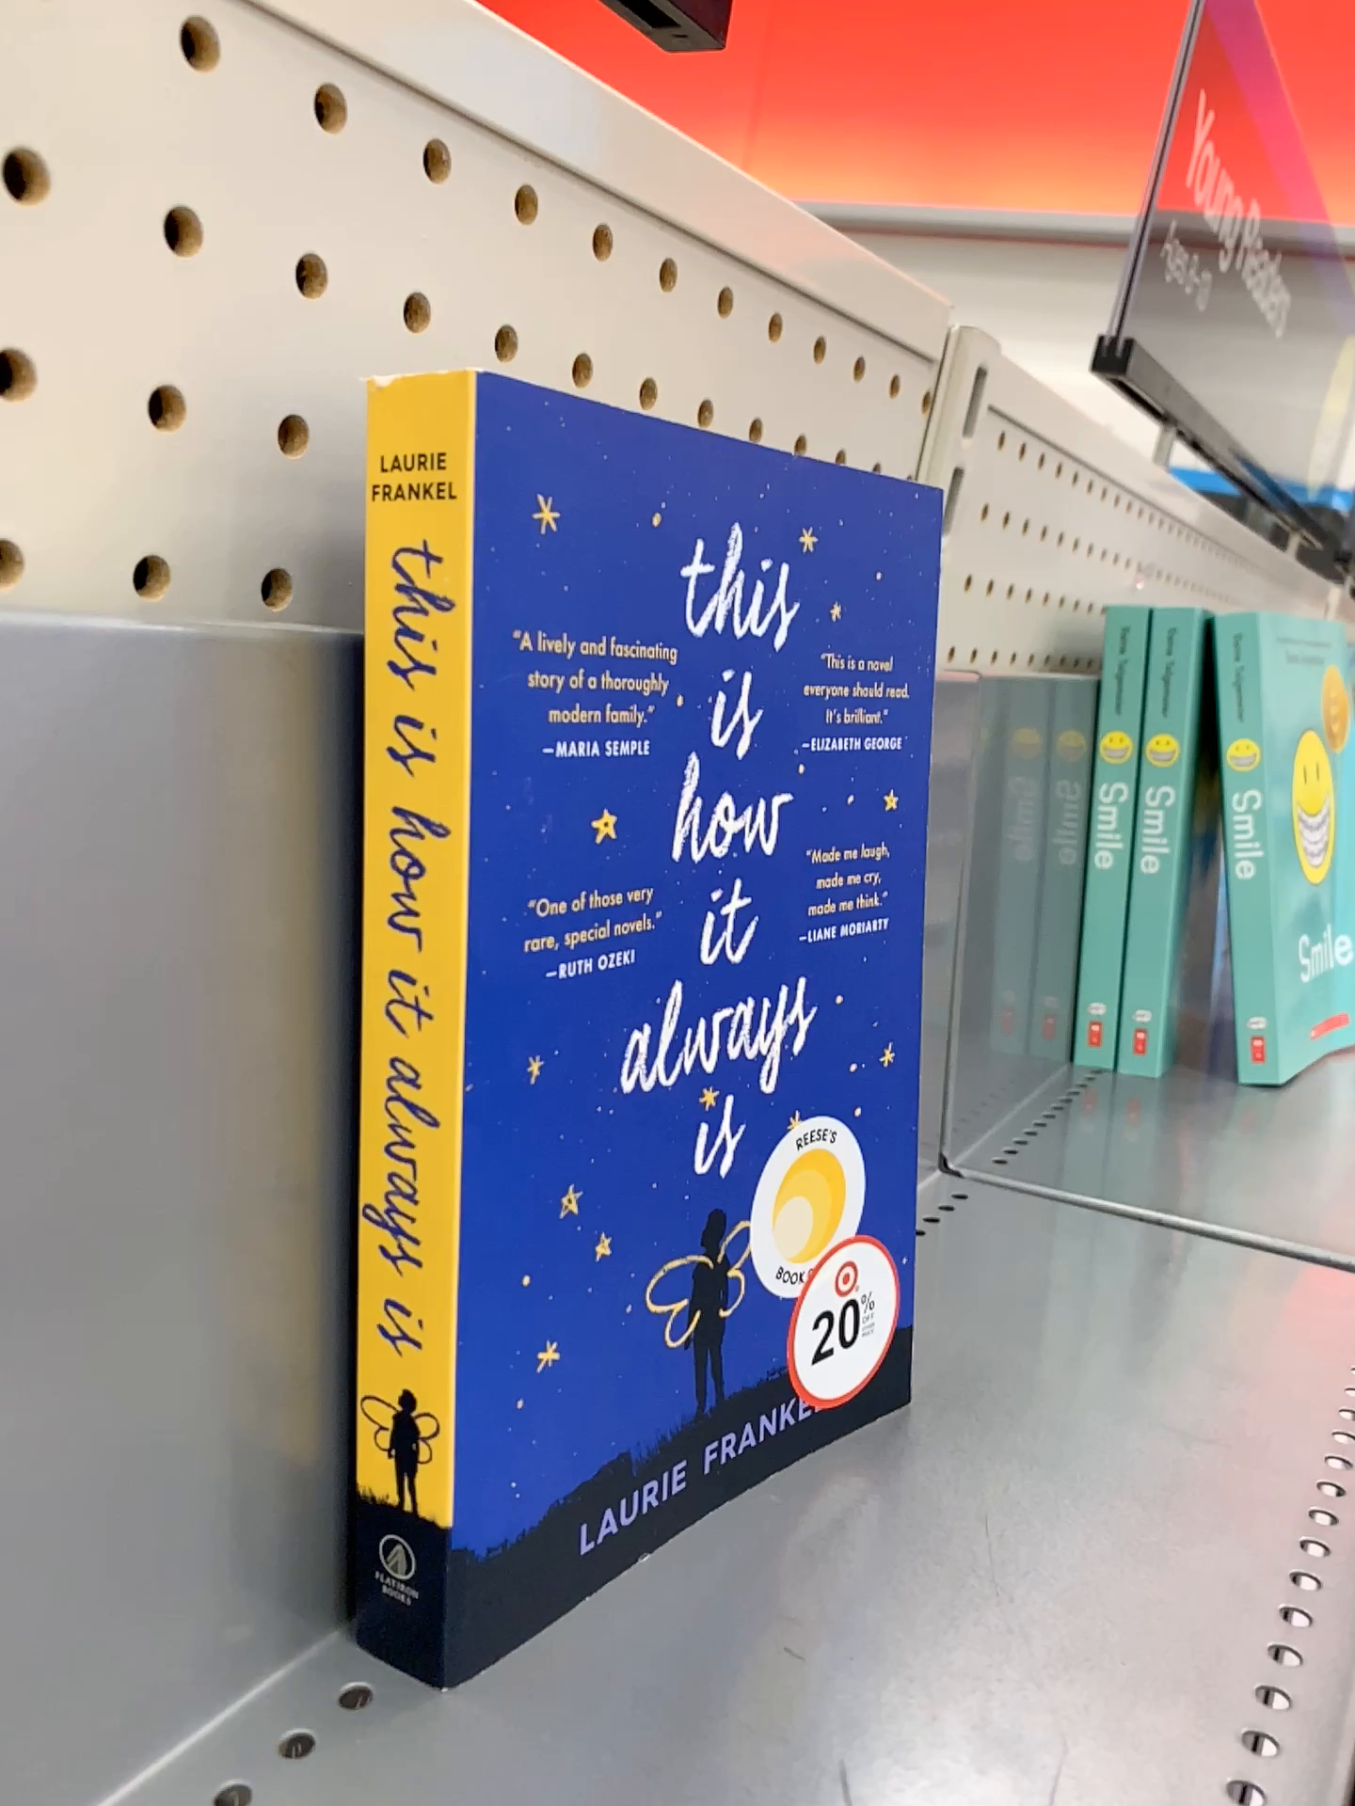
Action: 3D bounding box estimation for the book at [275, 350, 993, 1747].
[{"bbox_3d":[-0.002,0.020,0.272,0.044,0.209,0.140,10,10,40],"label":"book"}]
